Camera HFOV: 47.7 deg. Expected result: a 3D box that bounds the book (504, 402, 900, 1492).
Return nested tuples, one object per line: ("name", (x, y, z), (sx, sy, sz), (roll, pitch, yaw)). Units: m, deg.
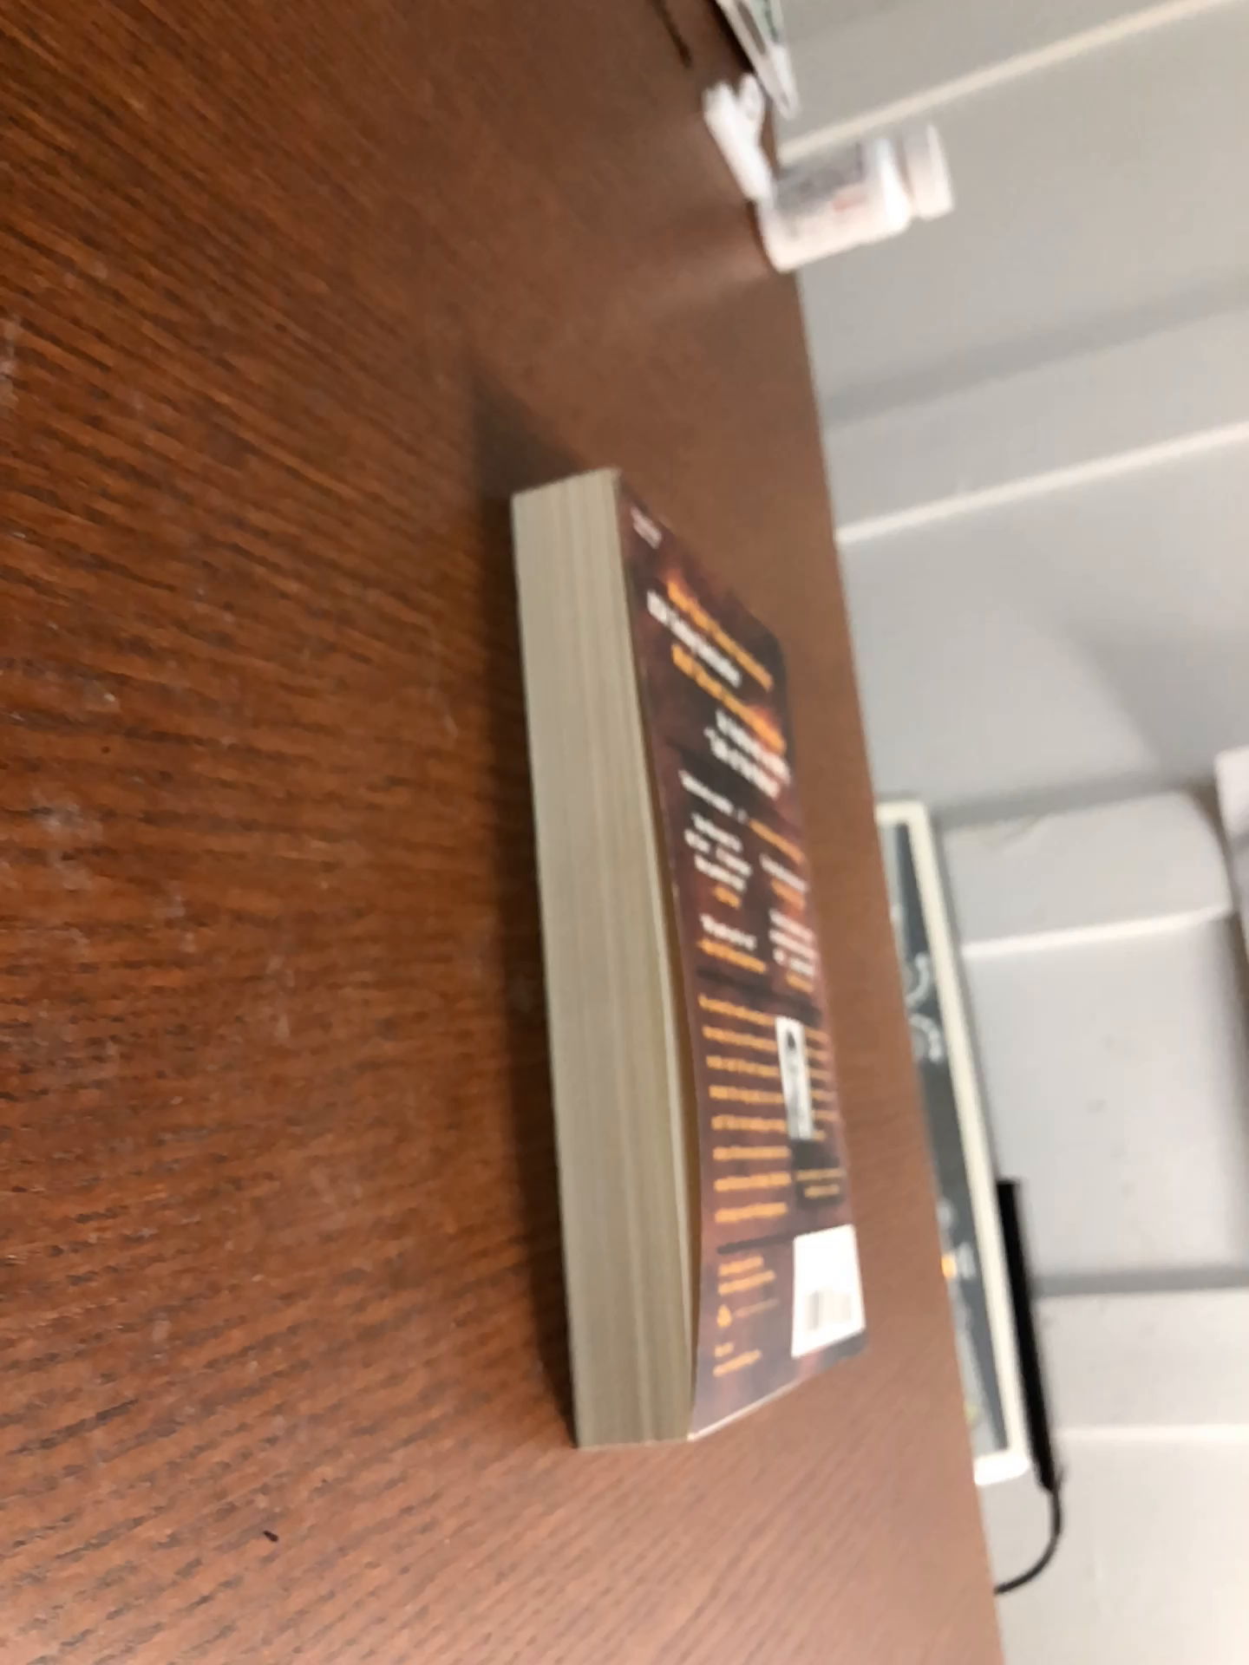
("book", (0.023, 0.029, 0.348), (0.141, 0.030, 0.220), (28, 55, -63))
